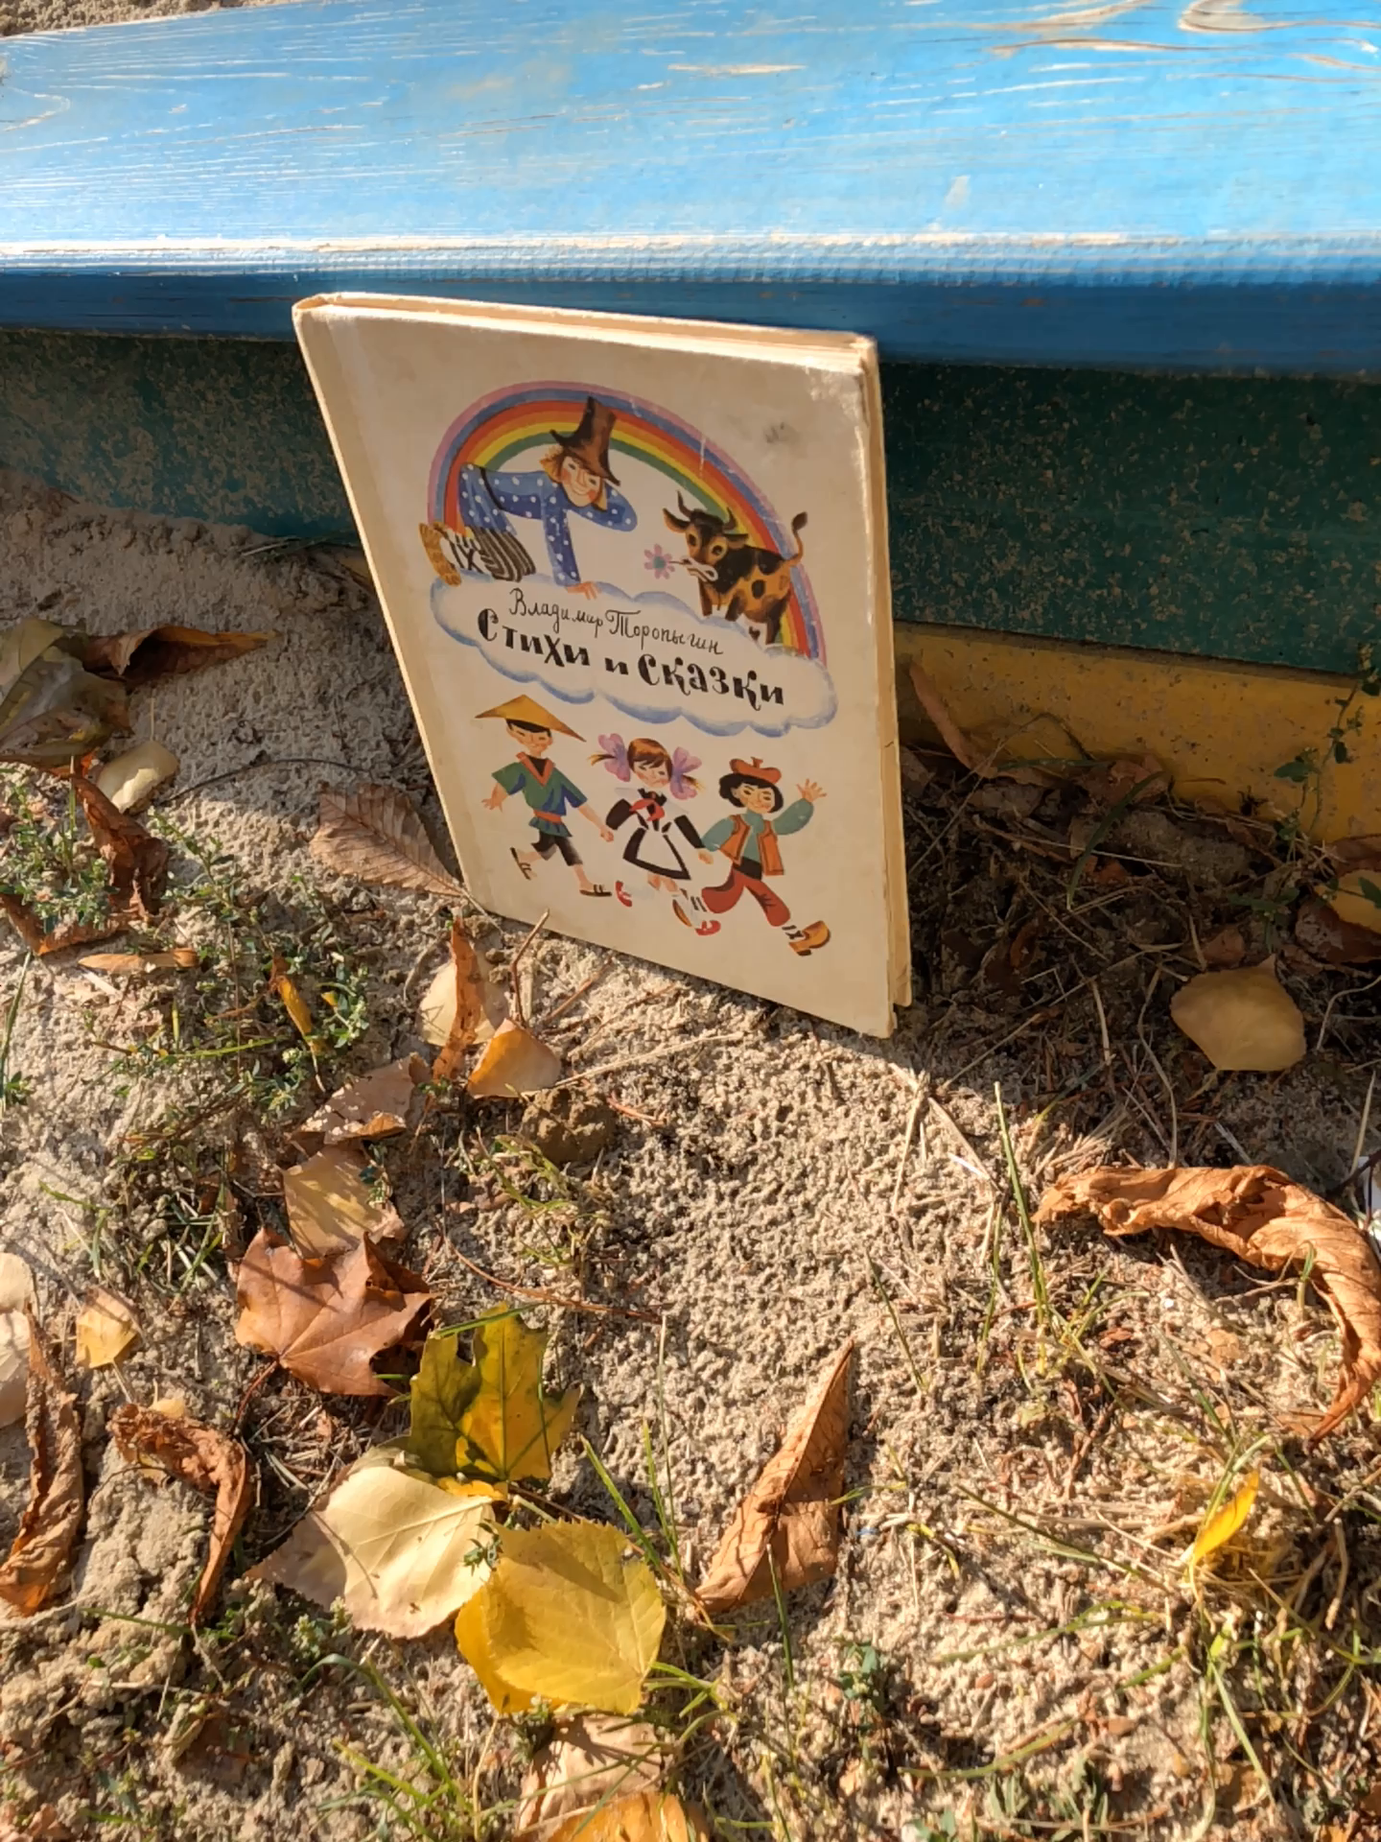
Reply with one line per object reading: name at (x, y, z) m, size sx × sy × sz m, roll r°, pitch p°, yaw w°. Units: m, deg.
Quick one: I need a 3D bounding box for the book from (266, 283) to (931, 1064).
book at (-0.020, -0.067, 0.443) m, size 0.178 × 0.213 × 0.024 m, roll 17°, pitch 47°, yaw 29°
